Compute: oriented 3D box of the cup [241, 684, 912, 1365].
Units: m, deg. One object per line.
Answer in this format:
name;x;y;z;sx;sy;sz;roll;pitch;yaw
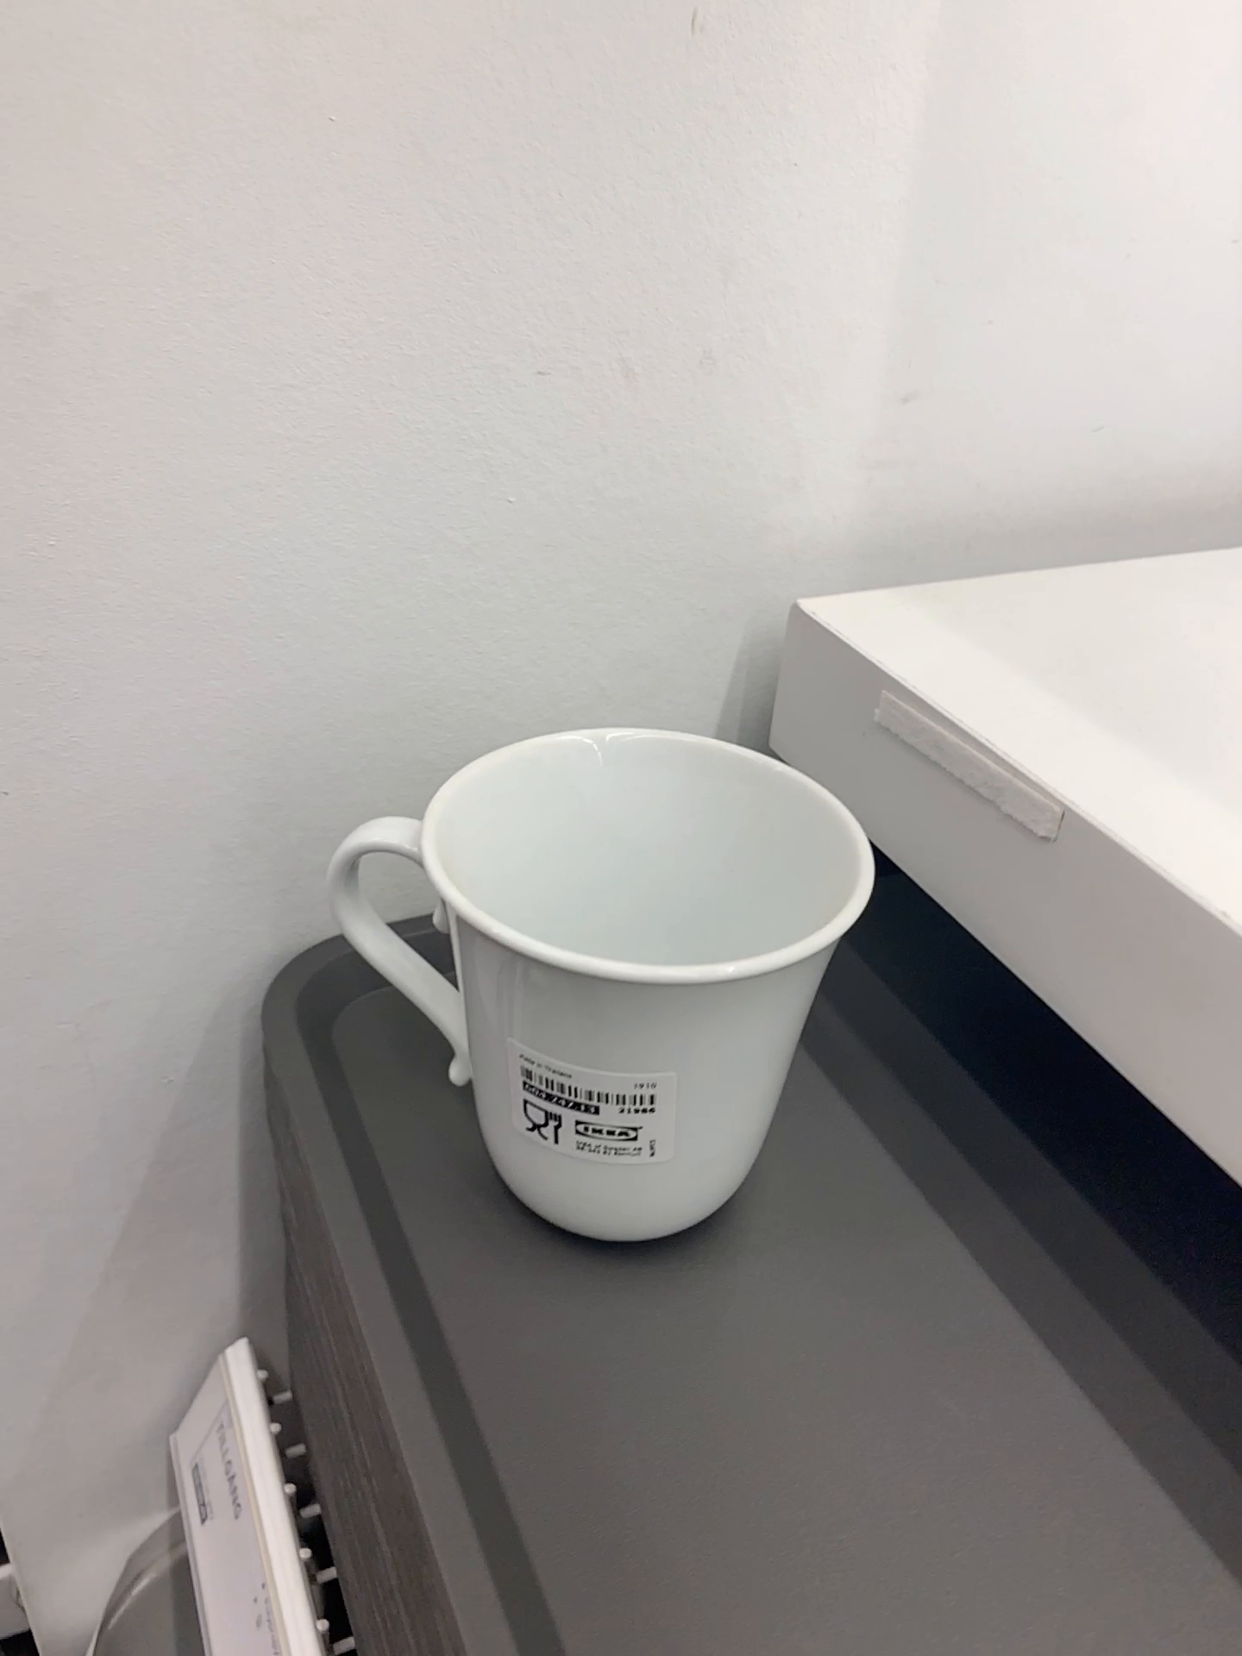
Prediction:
cup;-0.005;0.041;0.313;0.130;0.100;0.100;10;32;8
